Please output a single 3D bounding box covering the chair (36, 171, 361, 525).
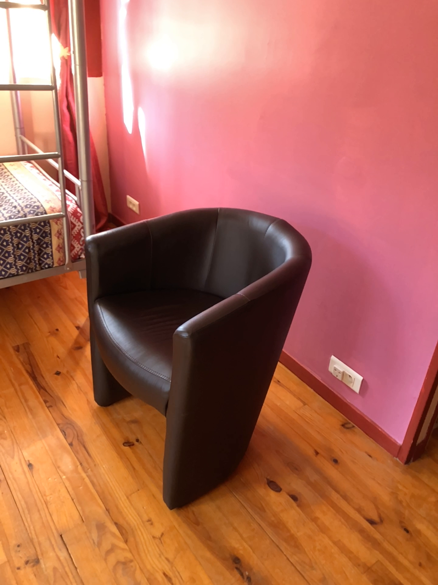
[{"bbox_3d":[-0.098,0.083,1.438,0.593,0.646,0.671,-18,37,-34],"label":"chair"}]
